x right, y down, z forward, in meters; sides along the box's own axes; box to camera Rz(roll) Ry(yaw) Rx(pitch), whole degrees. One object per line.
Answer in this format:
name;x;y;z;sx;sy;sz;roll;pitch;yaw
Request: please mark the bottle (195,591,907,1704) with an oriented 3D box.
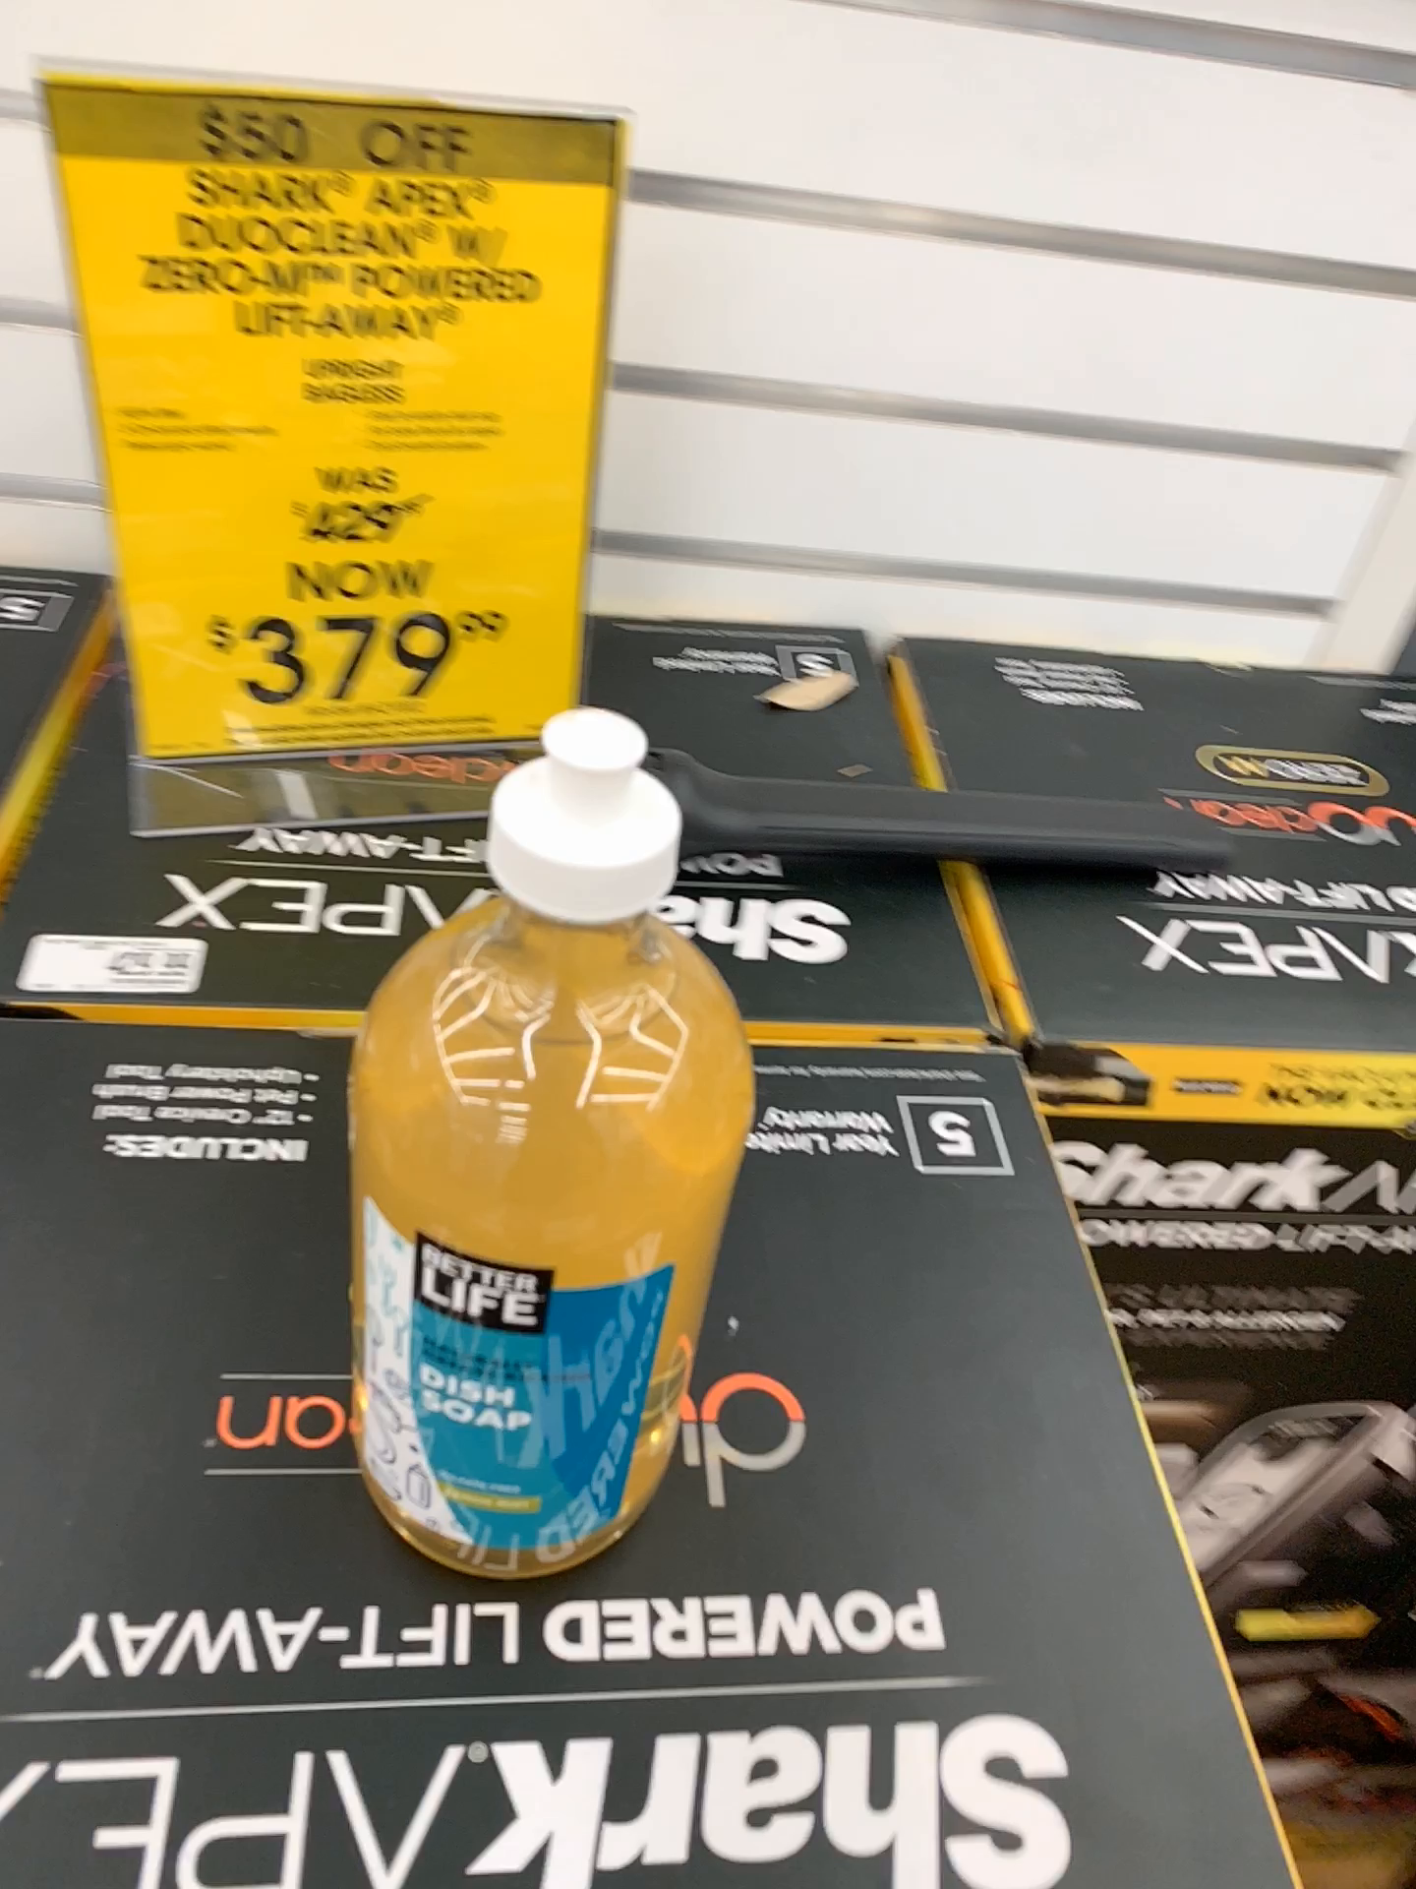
bottle;-0.030;0.053;0.290;0.090;0.209;0.090;6;41;-5
